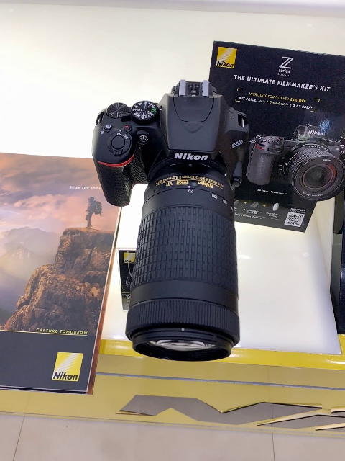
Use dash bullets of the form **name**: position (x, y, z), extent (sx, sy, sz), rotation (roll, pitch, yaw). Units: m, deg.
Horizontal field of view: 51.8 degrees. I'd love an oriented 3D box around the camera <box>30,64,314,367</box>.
- **camera**: position (0.000, -0.013, 0.241), extent (0.120, 0.100, 0.180), rotation (0, 57, 0)
